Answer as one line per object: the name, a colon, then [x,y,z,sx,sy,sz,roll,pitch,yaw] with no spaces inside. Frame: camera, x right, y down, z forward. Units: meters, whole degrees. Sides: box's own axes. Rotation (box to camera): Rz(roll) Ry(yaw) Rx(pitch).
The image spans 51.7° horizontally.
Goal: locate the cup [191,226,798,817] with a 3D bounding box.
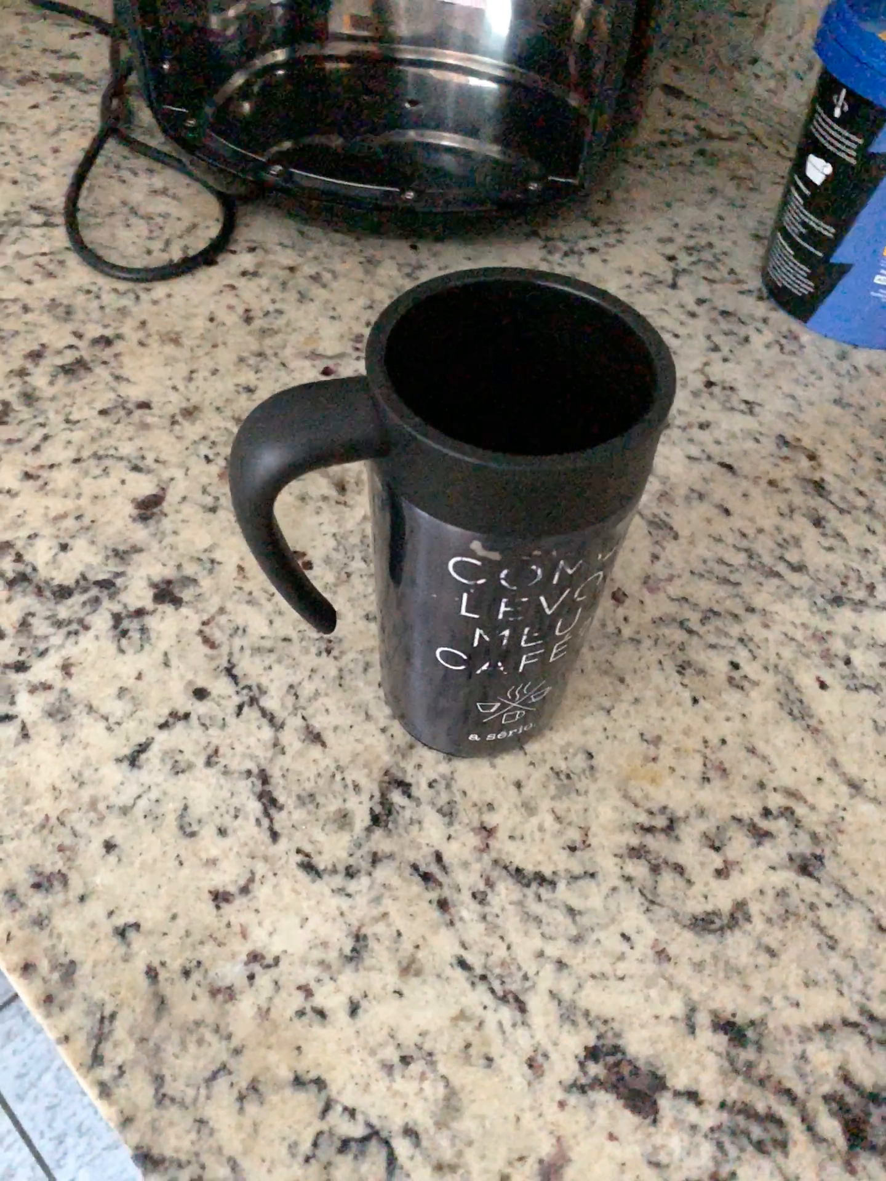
cup: [0.004,-0.013,0.261,0.120,0.139,0.080,-9,54,-11]
